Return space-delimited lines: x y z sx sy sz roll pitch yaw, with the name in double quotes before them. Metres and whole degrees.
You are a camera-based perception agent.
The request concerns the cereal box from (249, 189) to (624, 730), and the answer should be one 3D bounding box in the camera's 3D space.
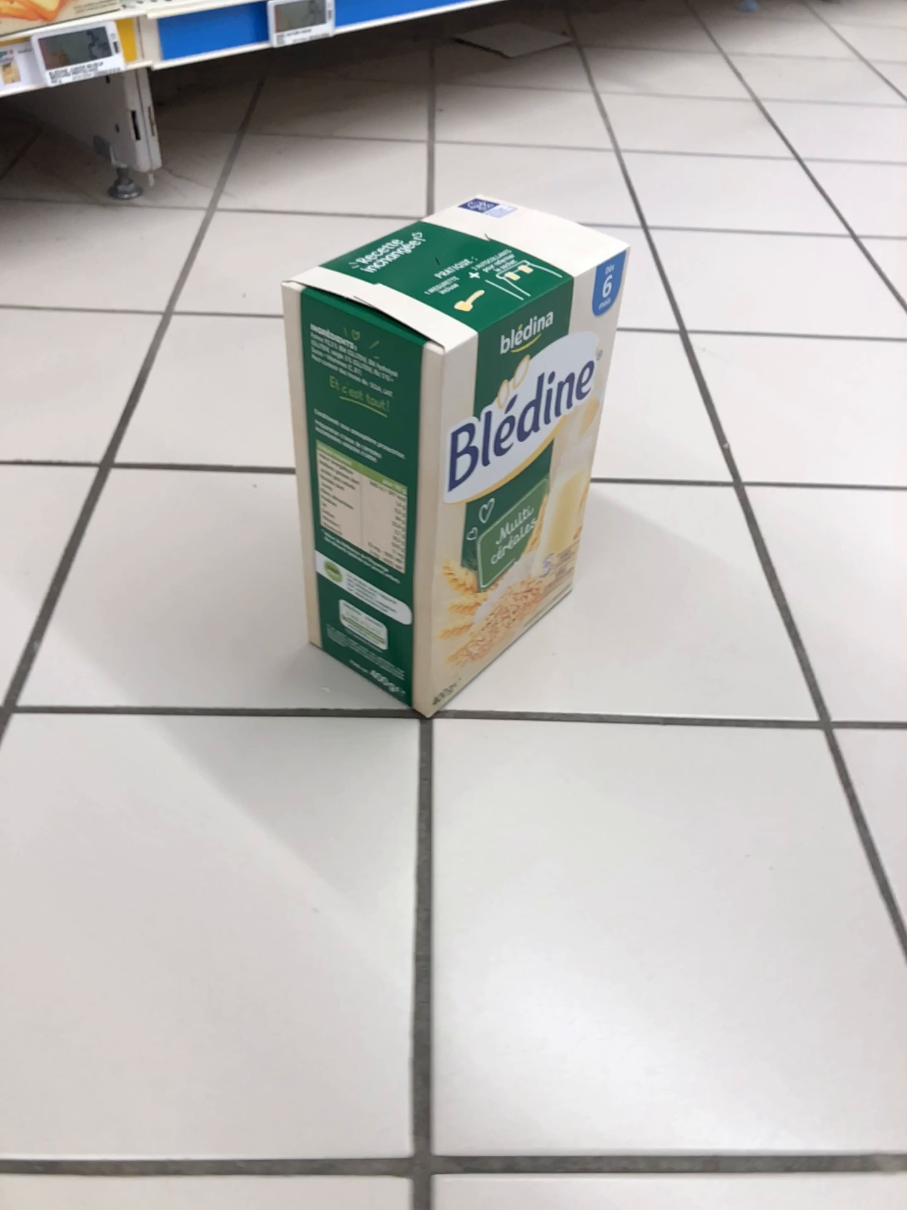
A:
"cereal box" -0.008 -0.067 0.473 0.090 0.199 0.131 30 48 25
